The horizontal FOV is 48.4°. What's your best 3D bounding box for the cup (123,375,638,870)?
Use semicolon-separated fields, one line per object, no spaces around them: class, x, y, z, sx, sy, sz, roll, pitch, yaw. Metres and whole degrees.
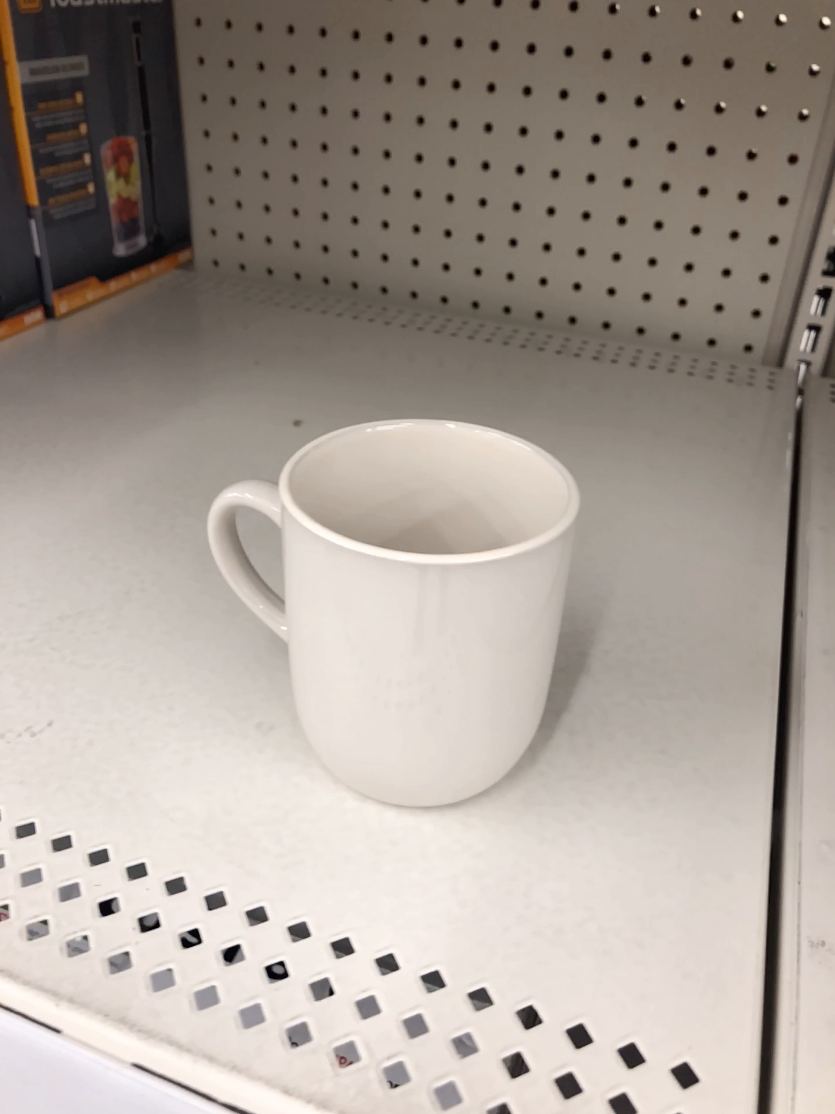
cup;-0.010;0.012;0.290;0.121;0.090;0.087;17;33;22
